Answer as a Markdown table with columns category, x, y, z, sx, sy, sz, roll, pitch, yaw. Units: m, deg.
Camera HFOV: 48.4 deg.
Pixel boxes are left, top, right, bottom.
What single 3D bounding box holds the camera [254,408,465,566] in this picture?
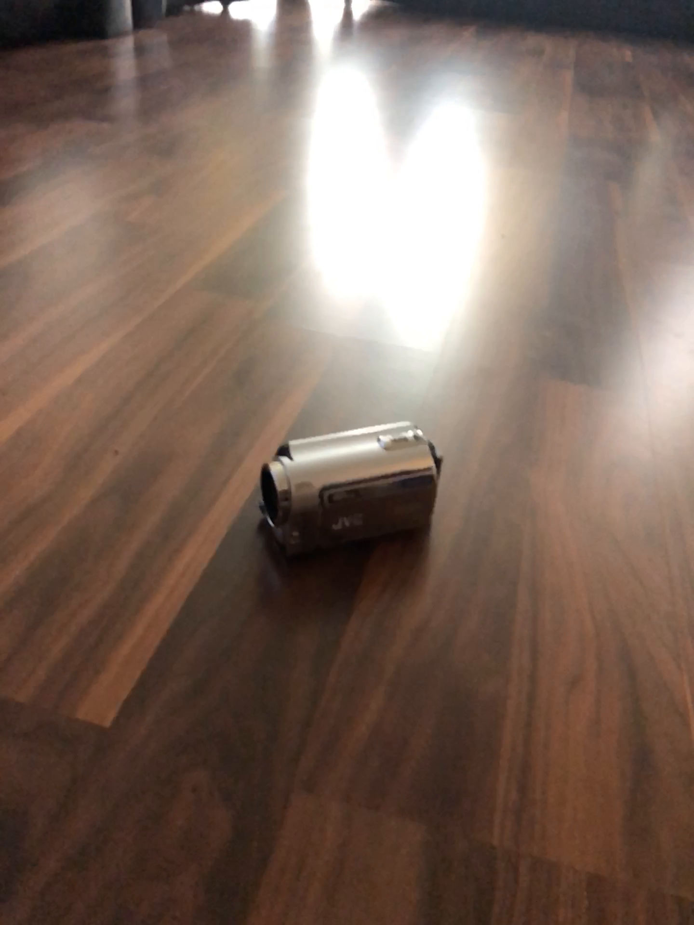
| category | x | y | z | sx | sy | sz | roll | pitch | yaw |
| --- | --- | --- | --- | --- | --- | --- | --- | --- | --- |
| camera | 0.005 | 0.013 | 0.506 | 0.120 | 0.060 | 0.060 | -10 | 37 | -20 |
